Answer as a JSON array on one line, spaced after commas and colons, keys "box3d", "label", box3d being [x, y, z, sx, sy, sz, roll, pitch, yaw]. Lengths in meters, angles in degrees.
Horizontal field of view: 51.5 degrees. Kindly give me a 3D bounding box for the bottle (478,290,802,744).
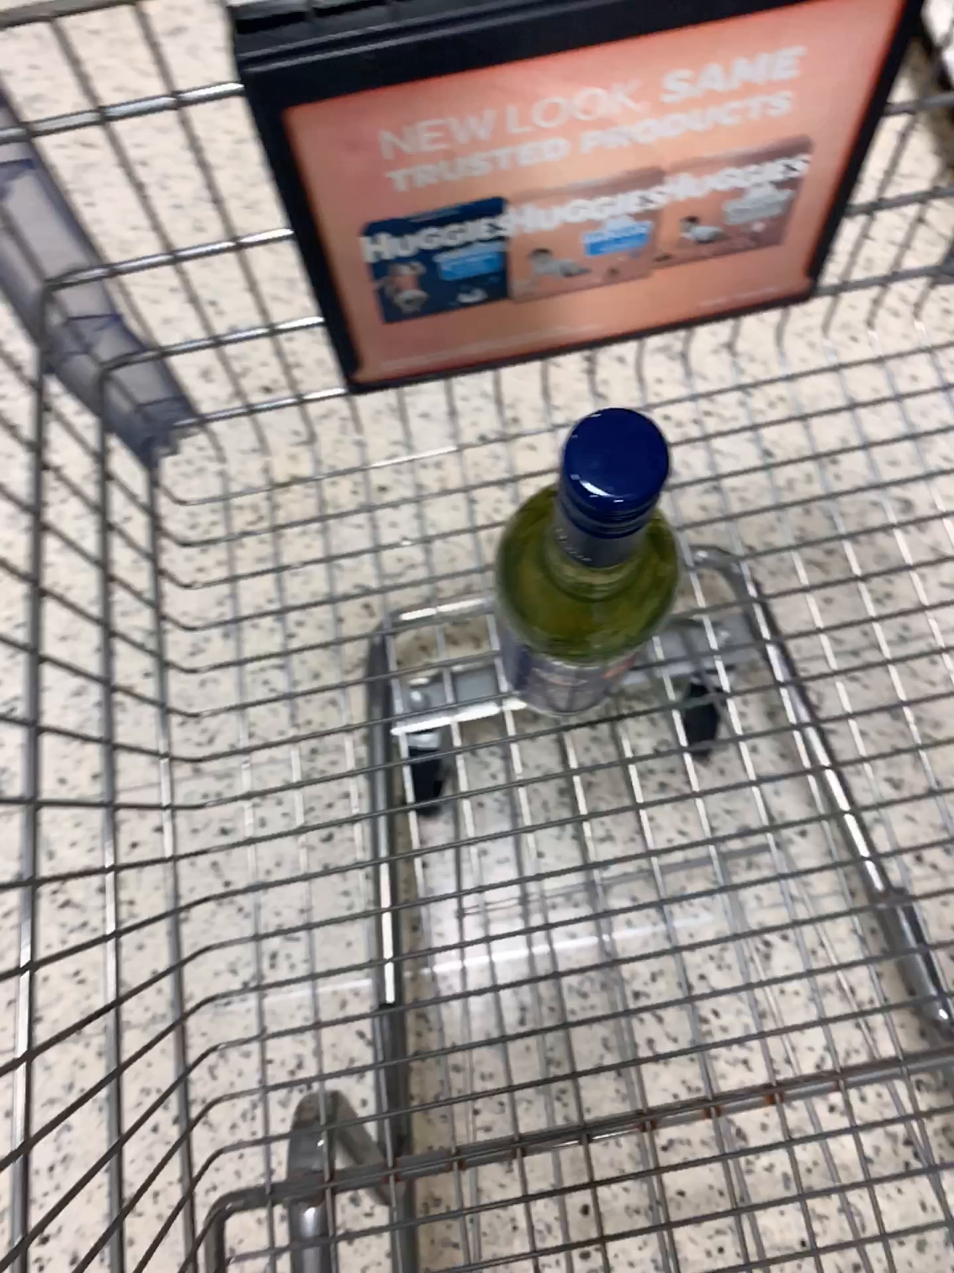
[{"box3d": [0.051, -0.025, 0.431, 0.090, 0.279, 0.080, 7, 73, 2], "label": "bottle"}]
